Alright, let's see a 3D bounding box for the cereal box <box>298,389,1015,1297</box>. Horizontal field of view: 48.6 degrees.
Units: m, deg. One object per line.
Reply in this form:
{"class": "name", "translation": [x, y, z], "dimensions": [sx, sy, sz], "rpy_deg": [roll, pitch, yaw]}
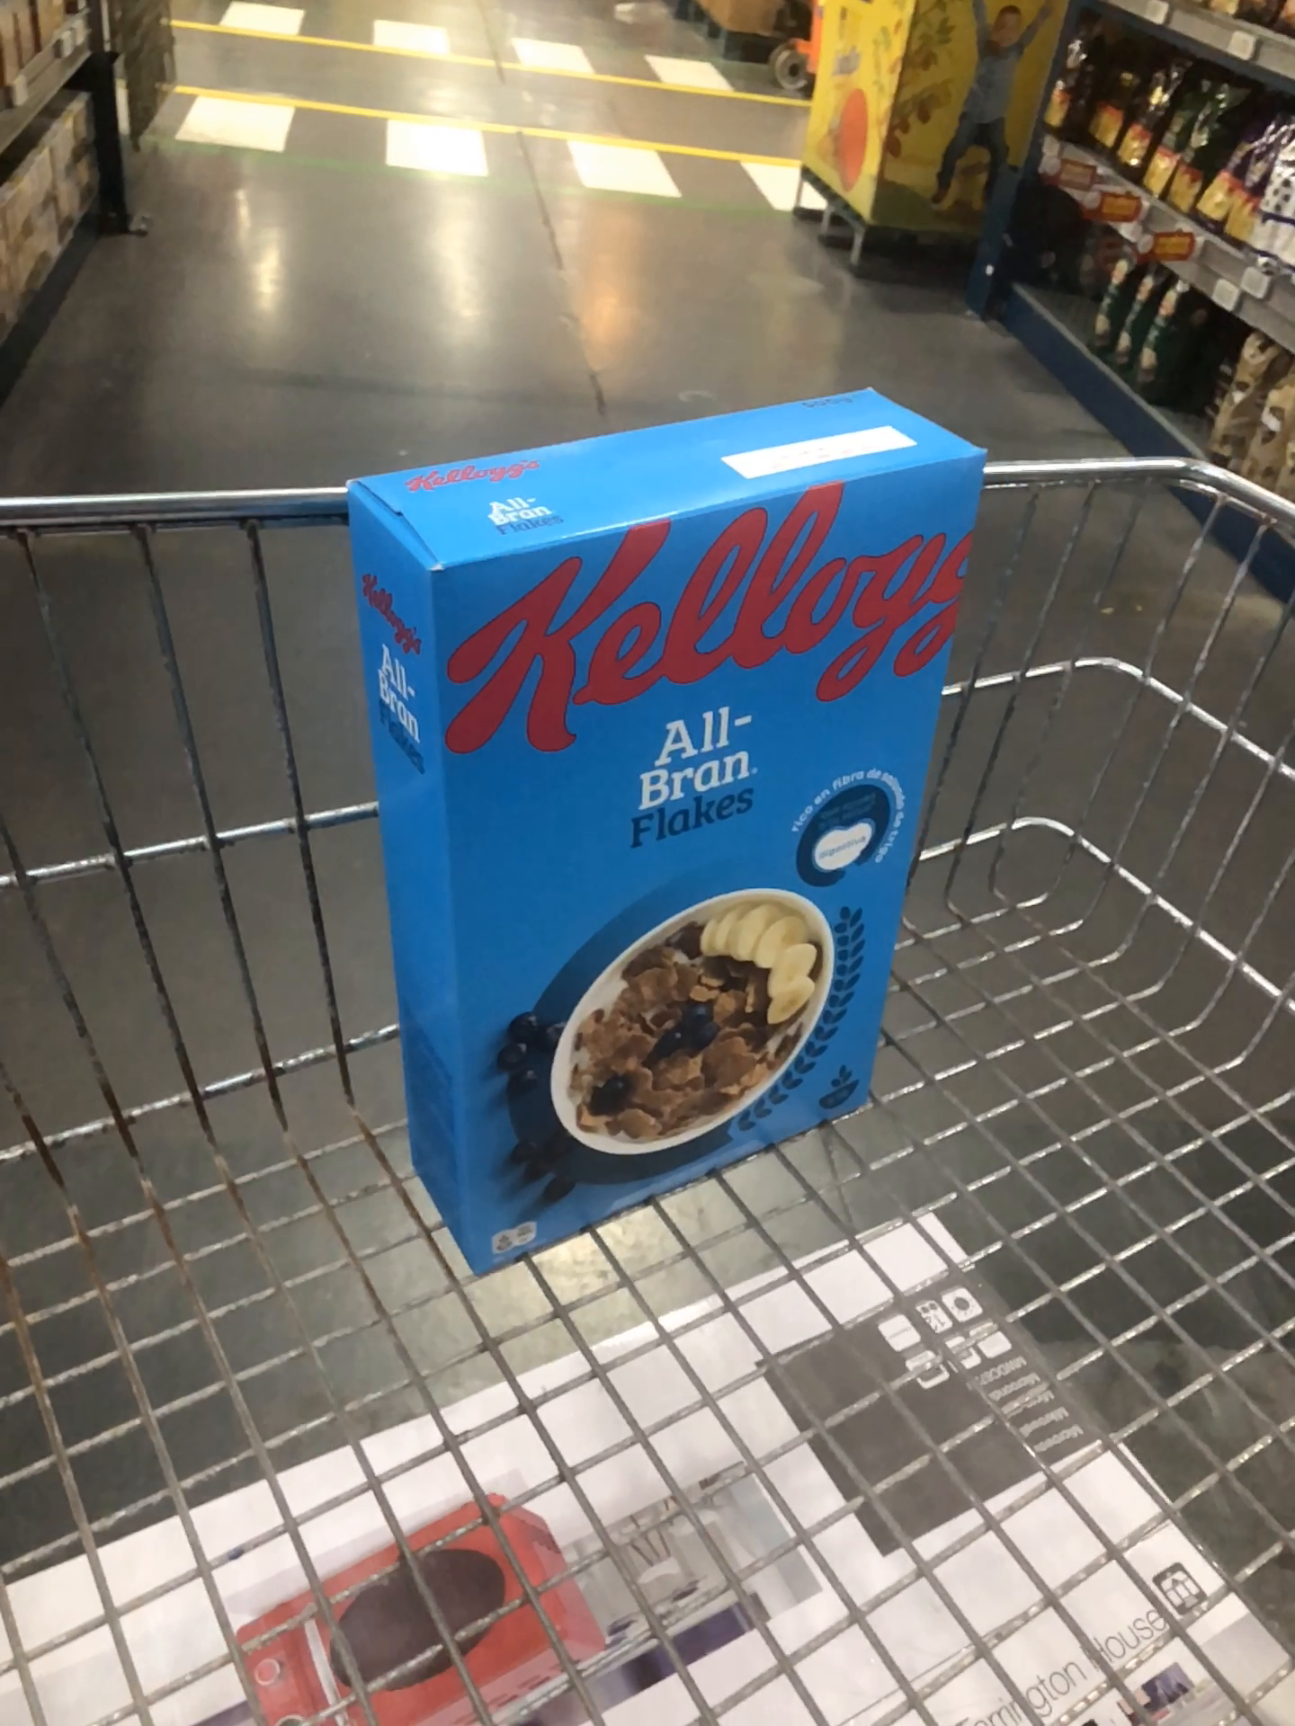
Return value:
{"class": "cereal box", "translation": [0.000, -0.006, 0.499], "dimensions": [0.201, 0.269, 0.080], "rpy_deg": [-18, 41, -28]}
